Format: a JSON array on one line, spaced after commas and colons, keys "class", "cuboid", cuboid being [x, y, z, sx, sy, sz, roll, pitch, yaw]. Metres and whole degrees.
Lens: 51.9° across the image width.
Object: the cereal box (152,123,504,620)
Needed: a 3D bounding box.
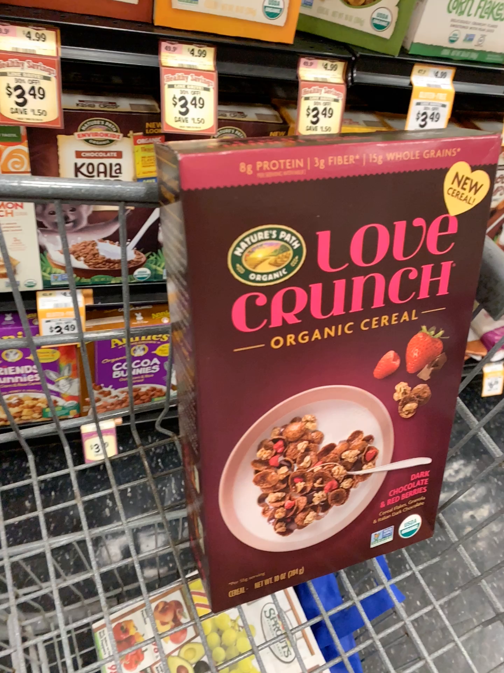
[{"class": "cereal box", "cuboid": [0.041, 0.021, 0.286, 0.160, 0.249, 0.060, -10, 28, -19]}]
